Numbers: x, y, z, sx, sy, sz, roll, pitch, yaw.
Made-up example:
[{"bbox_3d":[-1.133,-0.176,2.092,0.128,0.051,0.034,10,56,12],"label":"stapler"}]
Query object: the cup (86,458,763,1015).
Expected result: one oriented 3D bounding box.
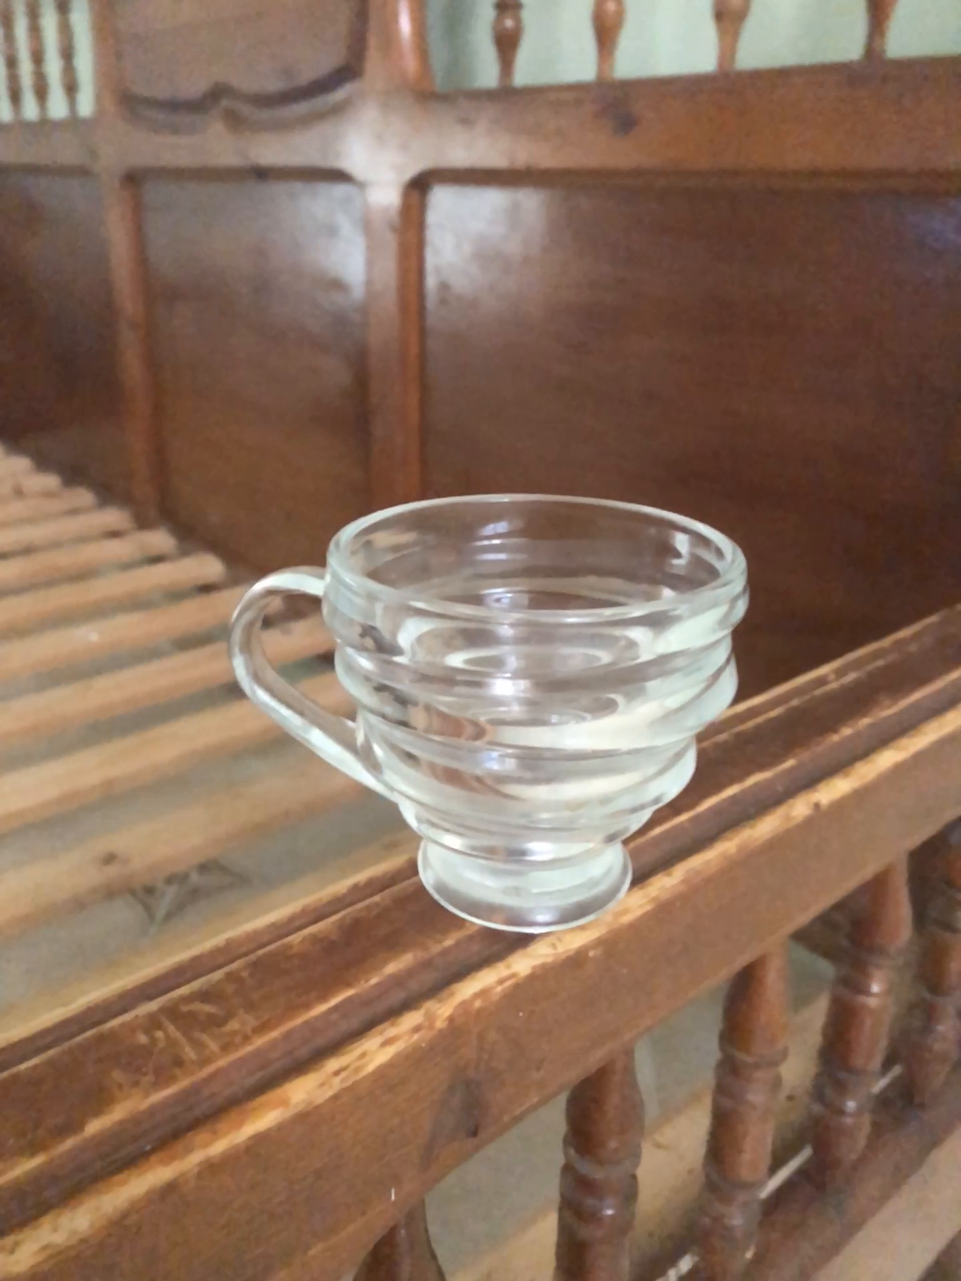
[{"bbox_3d":[-0.007,0.009,0.215,0.106,0.065,0.076,11,24,22],"label":"cup"}]
